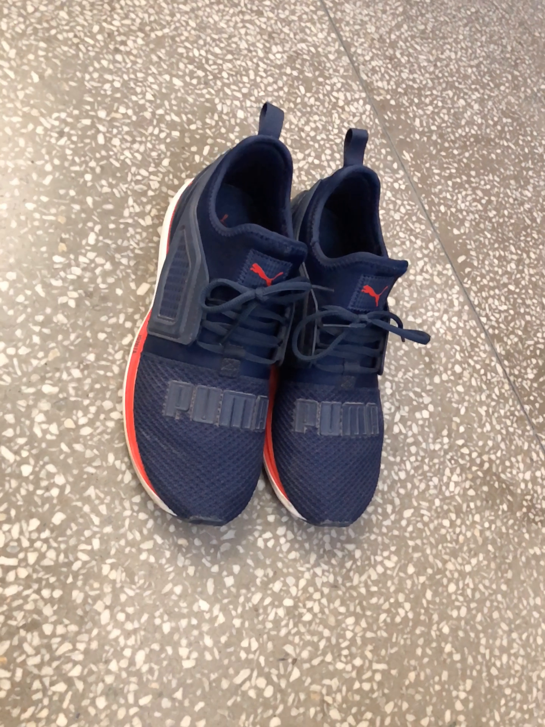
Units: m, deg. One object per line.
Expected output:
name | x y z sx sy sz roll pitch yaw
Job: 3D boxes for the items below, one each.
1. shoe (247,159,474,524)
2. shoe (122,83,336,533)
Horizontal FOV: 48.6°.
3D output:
shoe | 0.050 -0.008 0.441 0.100 0.120 0.230 3 71 -18
shoe | -0.037 -0.031 0.404 0.100 0.100 0.270 5 70 -24
